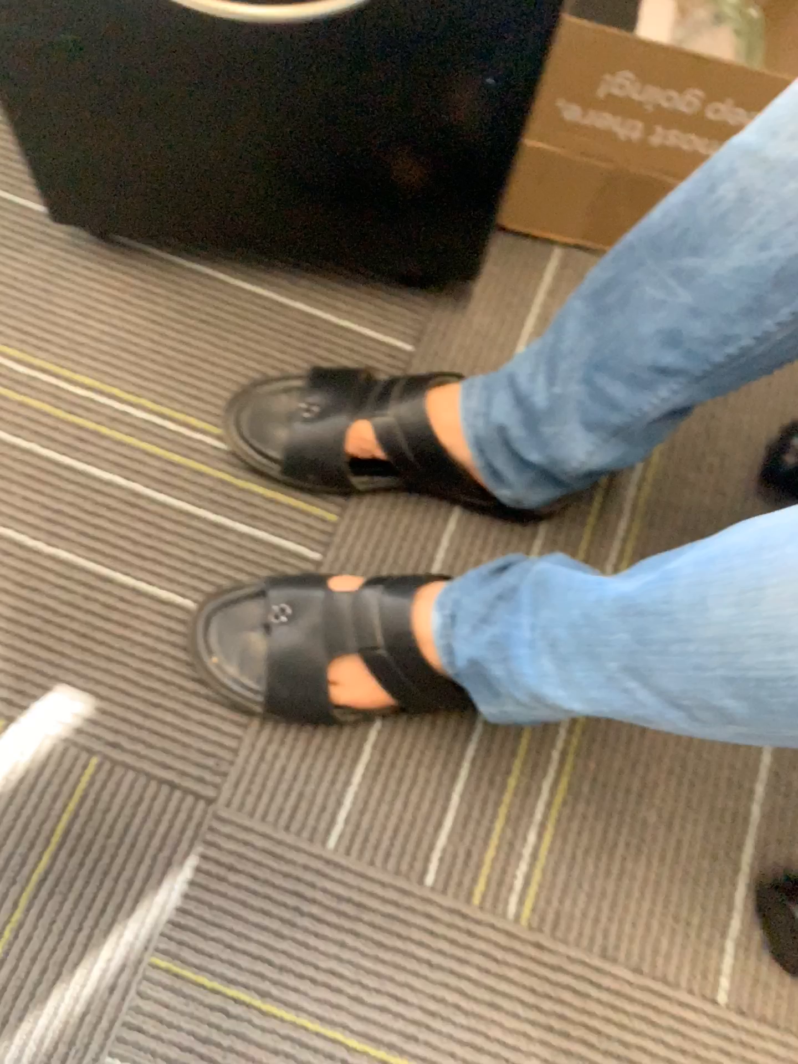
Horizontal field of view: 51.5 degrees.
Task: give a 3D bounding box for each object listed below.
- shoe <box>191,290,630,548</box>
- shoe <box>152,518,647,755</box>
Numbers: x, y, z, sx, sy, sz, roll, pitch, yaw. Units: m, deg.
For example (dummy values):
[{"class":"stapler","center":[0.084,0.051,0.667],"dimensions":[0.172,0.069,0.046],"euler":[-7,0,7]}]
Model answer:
[{"class":"shoe","center":[0.011,-0.084,0.664],"dimensions":[0.316,0.116,0.118],"euler":[8,68,-3]},{"class":"shoe","center":[0.001,0.082,0.600],"dimensions":[0.316,0.116,0.118],"euler":[6,68,-5]}]
